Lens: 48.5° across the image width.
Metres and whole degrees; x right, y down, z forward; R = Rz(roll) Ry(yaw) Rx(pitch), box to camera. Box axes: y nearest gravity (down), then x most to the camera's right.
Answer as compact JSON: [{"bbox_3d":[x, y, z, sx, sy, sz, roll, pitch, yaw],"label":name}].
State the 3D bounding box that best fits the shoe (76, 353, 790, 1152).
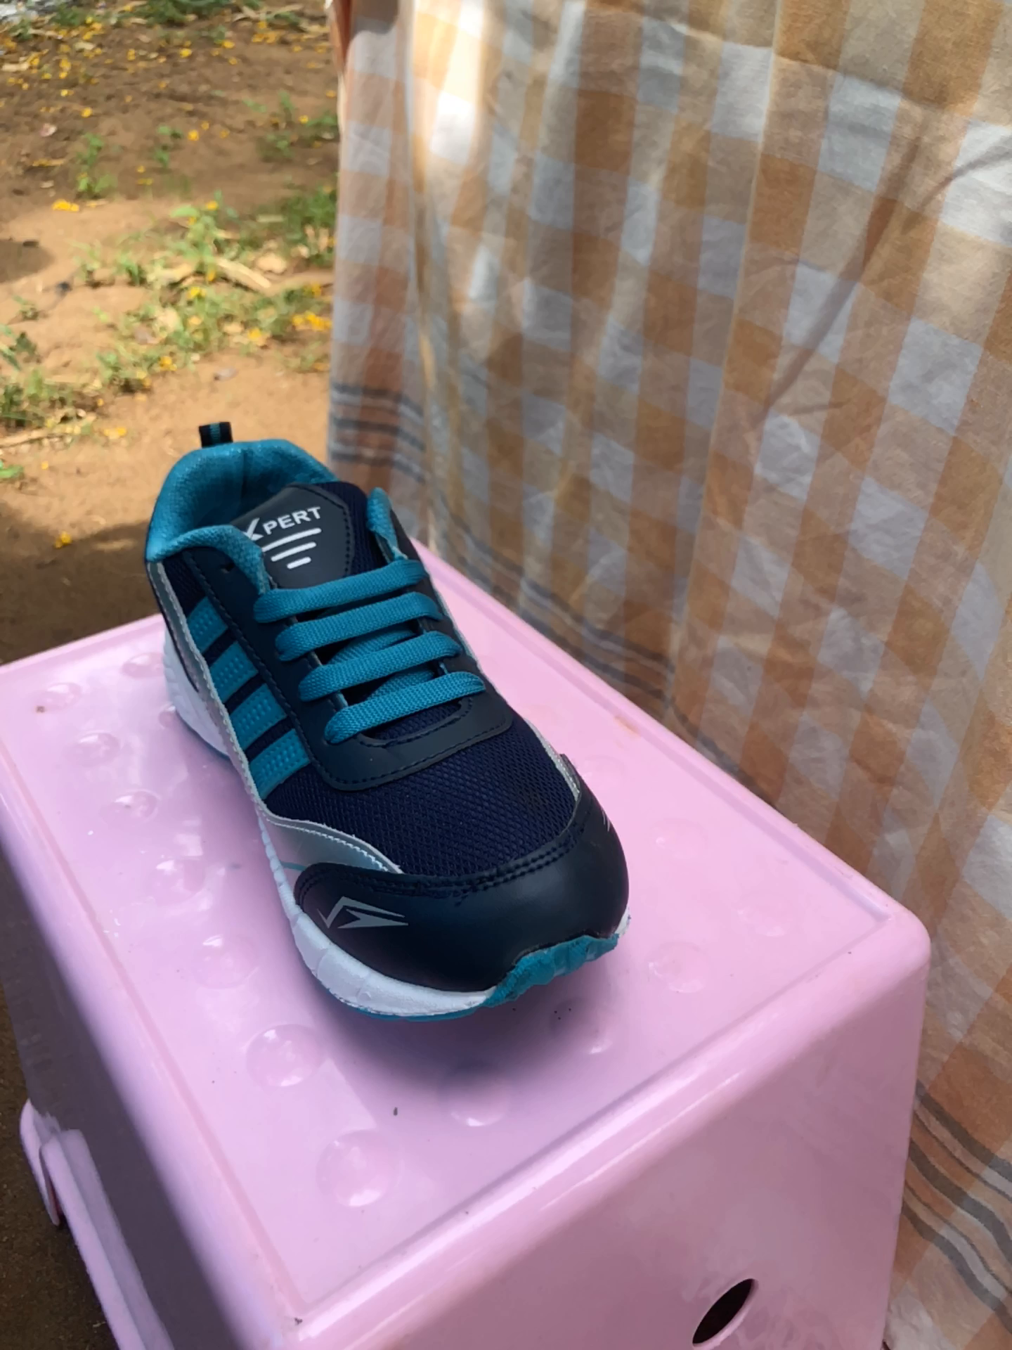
[{"bbox_3d":[-0.045,-0.002,0.388,0.110,0.109,0.271,-19,42,-25],"label":"shoe"}]
